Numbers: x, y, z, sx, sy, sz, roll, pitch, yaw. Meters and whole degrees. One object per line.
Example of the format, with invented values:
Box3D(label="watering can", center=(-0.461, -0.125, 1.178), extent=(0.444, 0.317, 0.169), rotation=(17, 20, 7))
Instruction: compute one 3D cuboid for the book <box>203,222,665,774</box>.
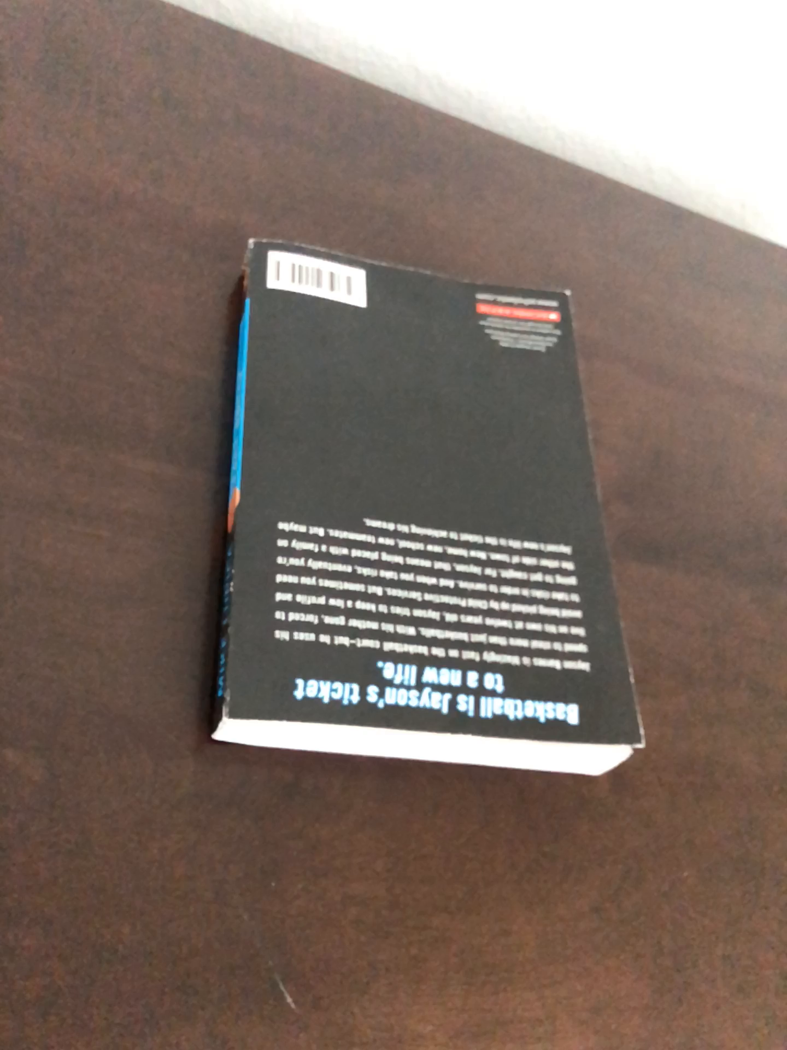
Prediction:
Box3D(label="book", center=(0.010, -0.015, 0.327), extent=(0.140, 0.036, 0.198), rotation=(8, 57, -17))
